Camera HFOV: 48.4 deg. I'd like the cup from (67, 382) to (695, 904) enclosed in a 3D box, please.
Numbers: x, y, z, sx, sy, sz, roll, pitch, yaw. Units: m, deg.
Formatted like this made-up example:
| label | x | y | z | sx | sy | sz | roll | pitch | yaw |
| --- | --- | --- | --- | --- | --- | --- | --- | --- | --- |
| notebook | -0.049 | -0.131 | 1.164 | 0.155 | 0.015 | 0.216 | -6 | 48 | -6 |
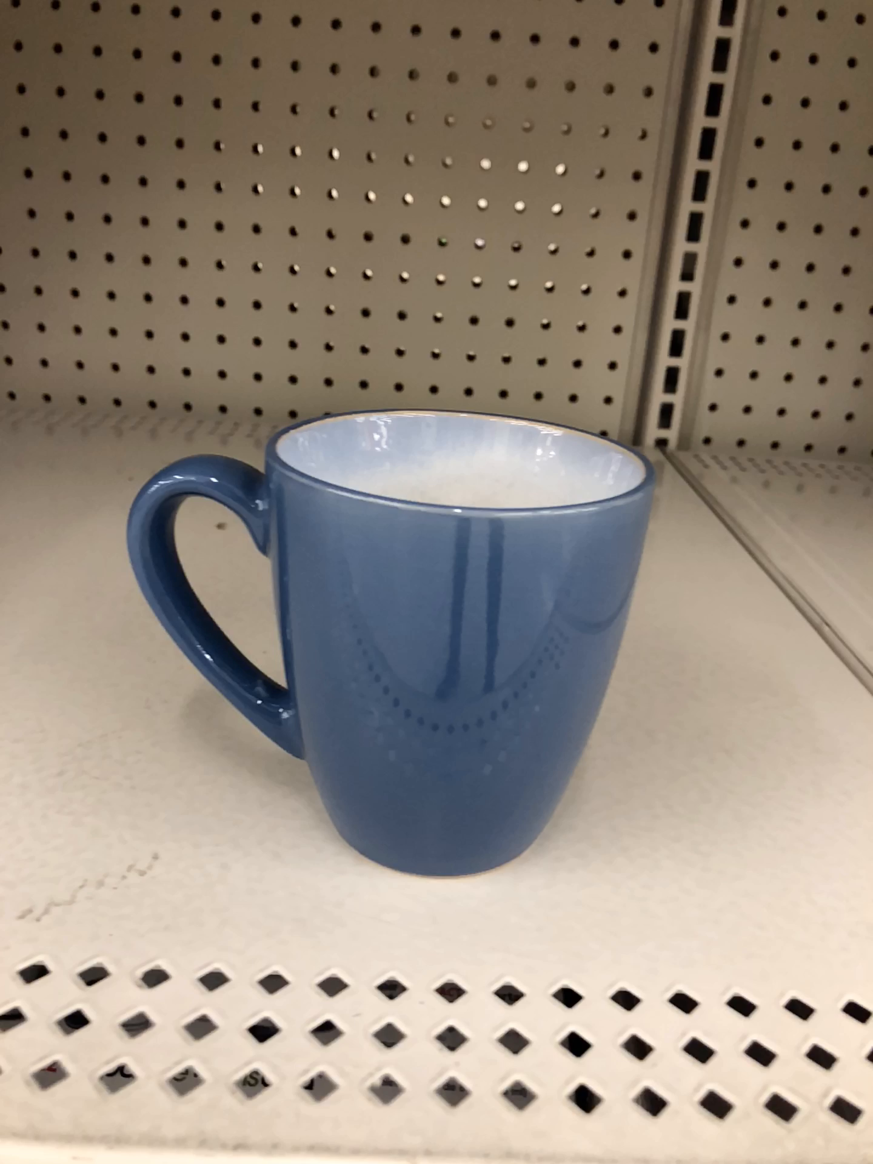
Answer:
| label | x | y | z | sx | sy | sz | roll | pitch | yaw |
| --- | --- | --- | --- | --- | --- | --- | --- | --- | --- |
| cup | -0.013 | 0.009 | 0.259 | 0.127 | 0.098 | 0.097 | 4 | 22 | 0 |
